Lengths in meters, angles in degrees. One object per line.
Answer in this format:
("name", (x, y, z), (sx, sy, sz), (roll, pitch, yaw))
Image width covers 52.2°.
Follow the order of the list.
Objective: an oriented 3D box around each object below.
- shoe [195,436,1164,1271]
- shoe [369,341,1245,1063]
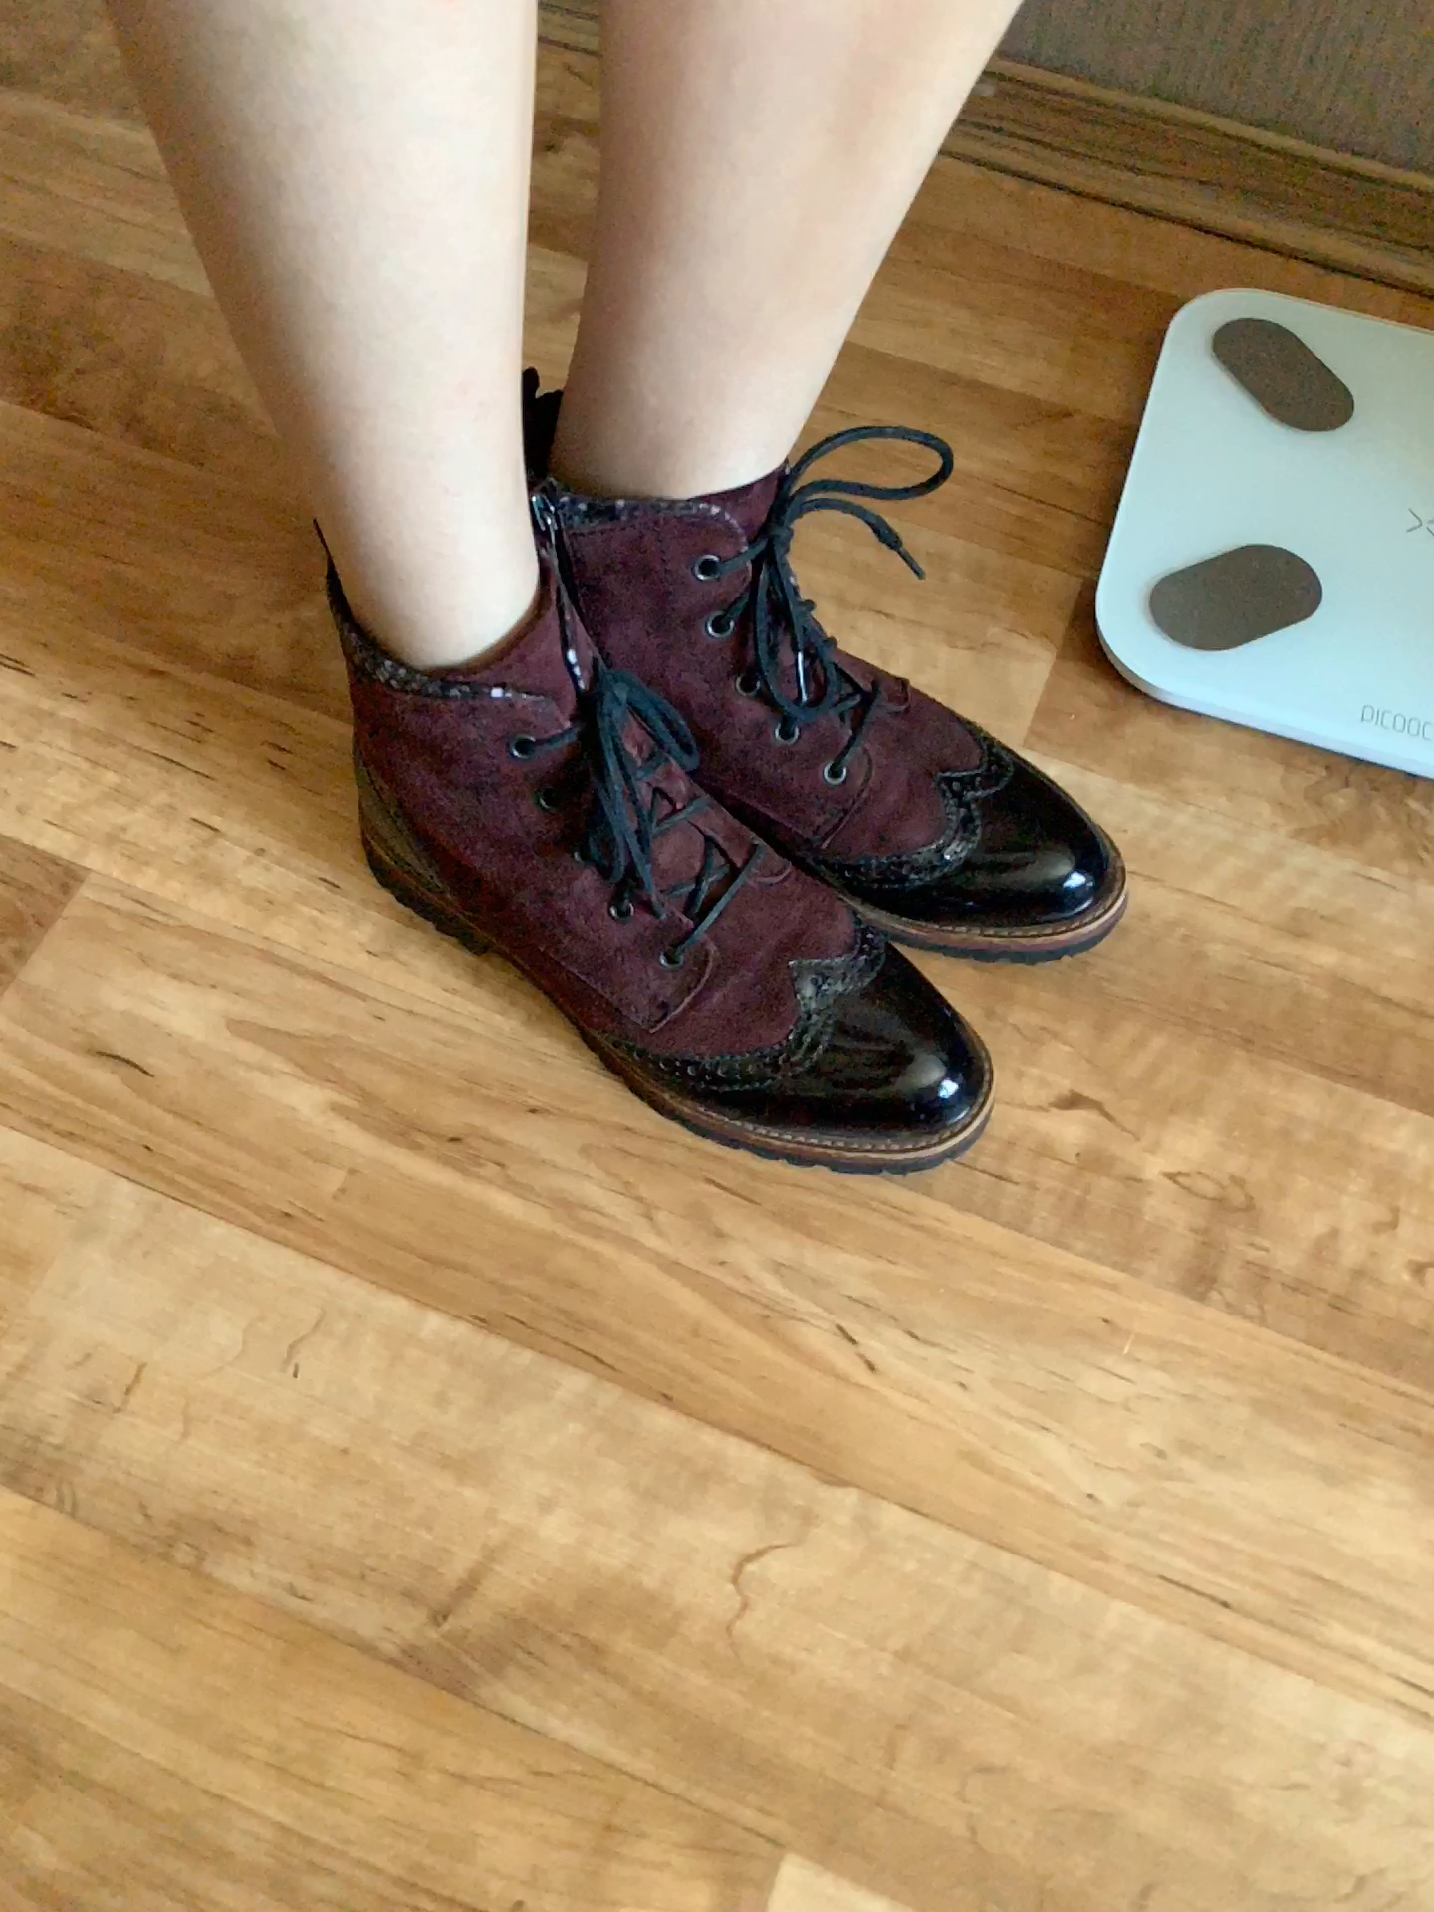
("shoe", (-0.017, -0.030, 0.473), (0.260, 0.140, 0.100), (30, 64, 13))
("shoe", (0.025, -0.087, 0.524), (0.260, 0.140, 0.100), (25, 63, 10))
